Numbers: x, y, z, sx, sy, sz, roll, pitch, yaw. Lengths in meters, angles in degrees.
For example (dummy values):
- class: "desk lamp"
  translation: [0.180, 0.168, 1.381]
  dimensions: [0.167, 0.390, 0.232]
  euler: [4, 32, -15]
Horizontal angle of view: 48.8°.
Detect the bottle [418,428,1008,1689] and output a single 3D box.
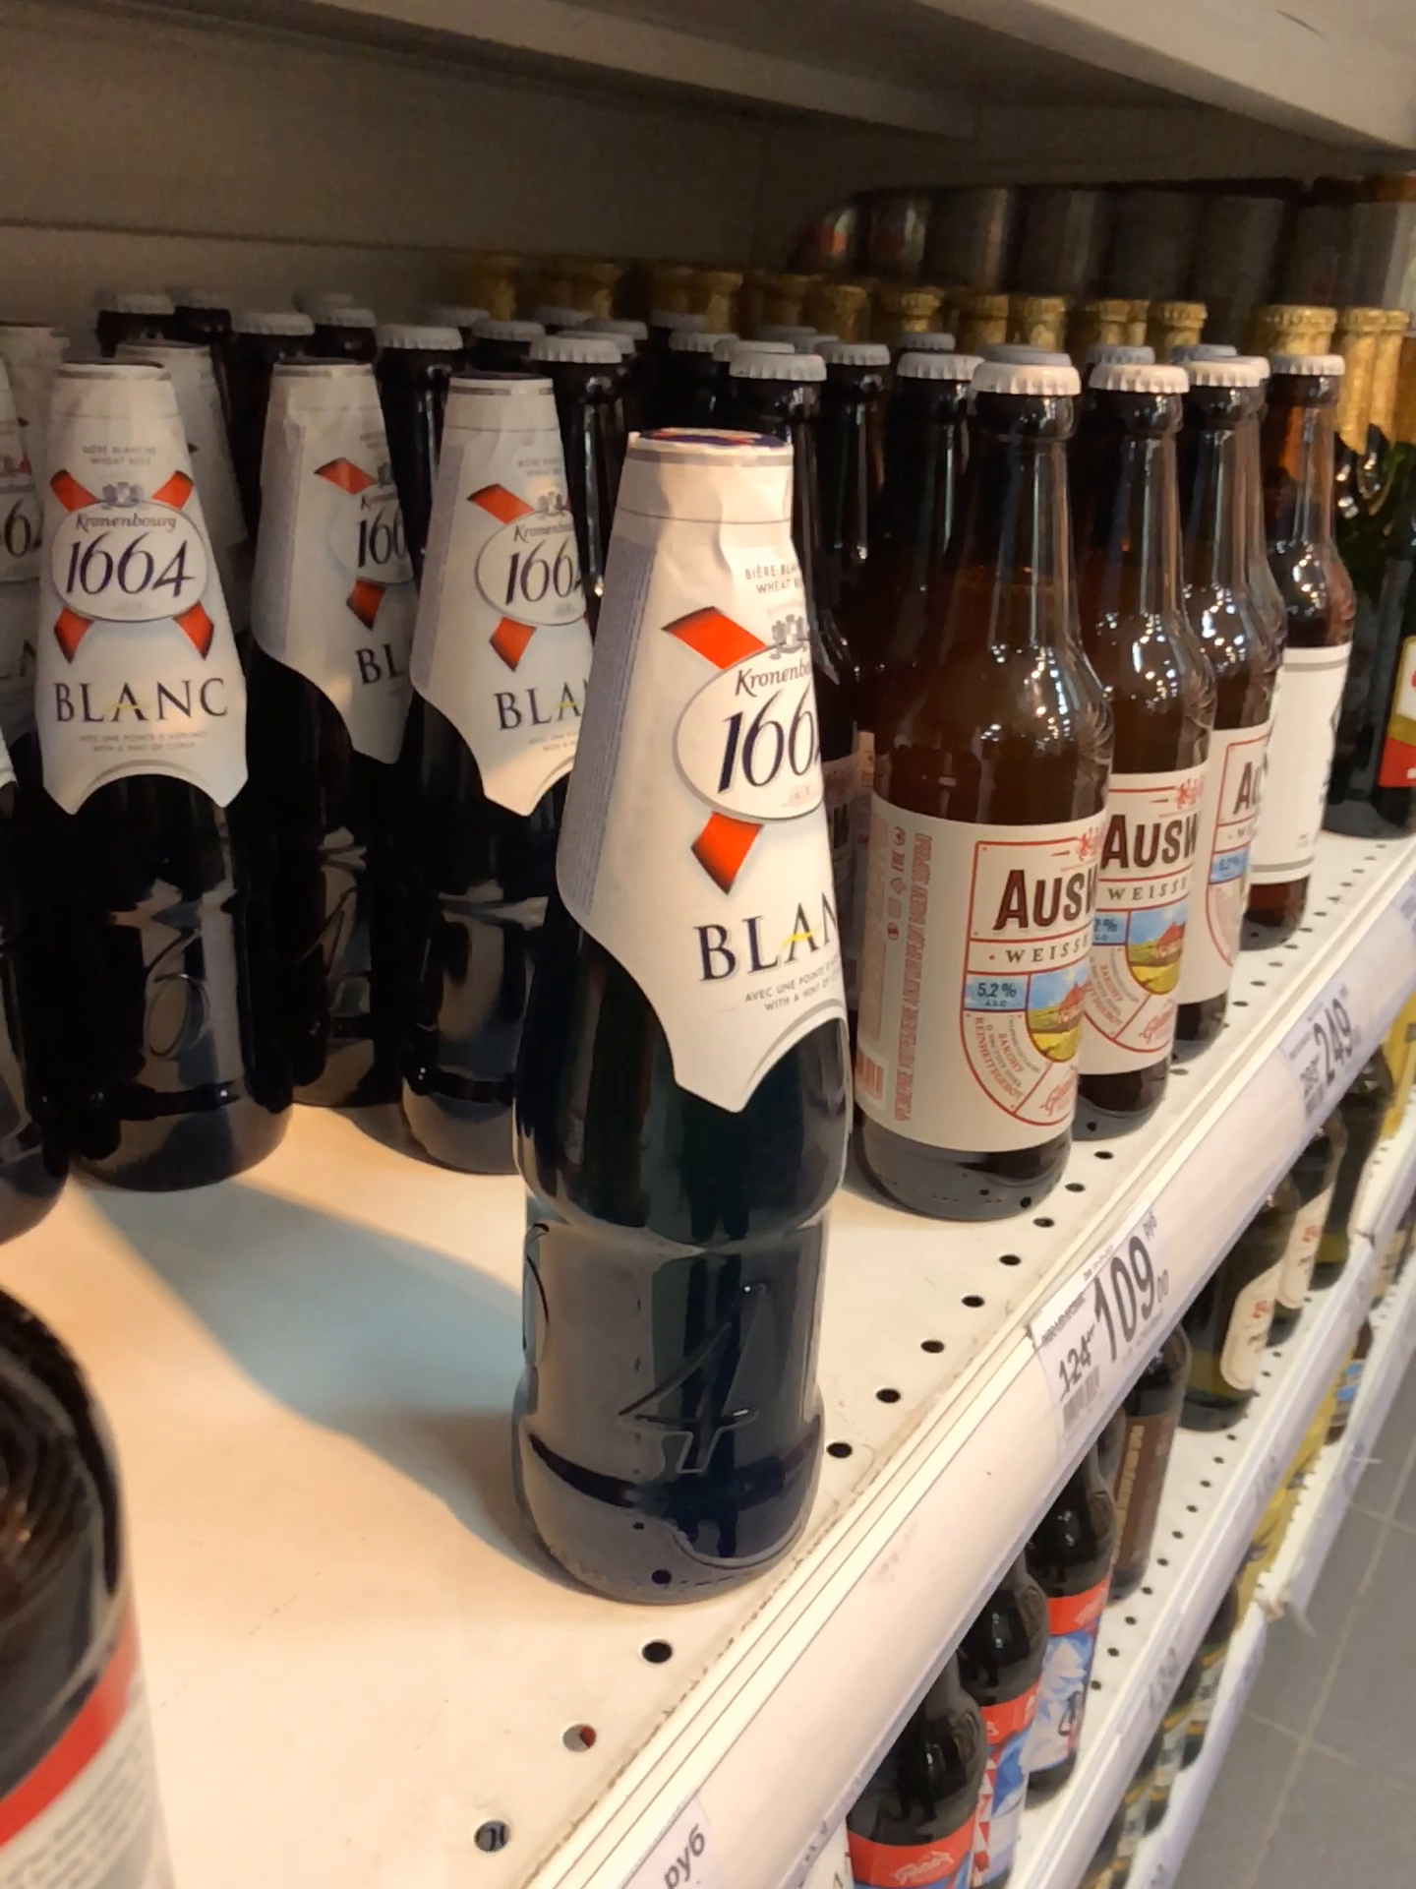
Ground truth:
- class: "bottle"
  translation: [-0.004, 0.022, 0.321]
  dimensions: [0.070, 0.234, 0.080]
  euler: [19, 27, 34]
